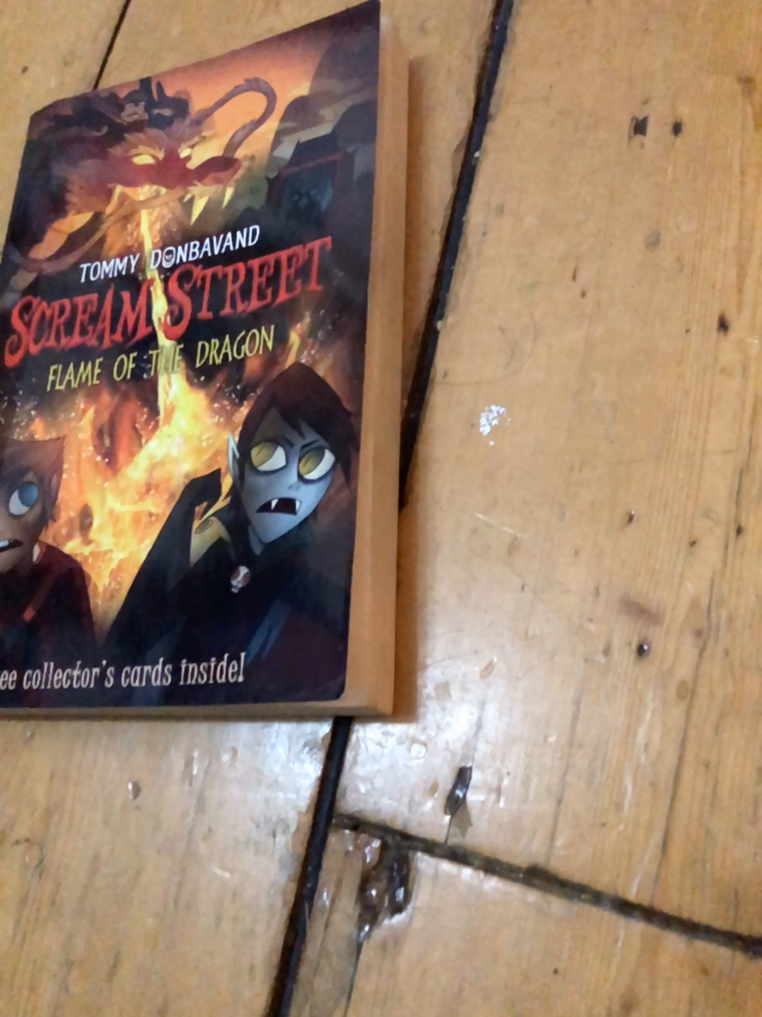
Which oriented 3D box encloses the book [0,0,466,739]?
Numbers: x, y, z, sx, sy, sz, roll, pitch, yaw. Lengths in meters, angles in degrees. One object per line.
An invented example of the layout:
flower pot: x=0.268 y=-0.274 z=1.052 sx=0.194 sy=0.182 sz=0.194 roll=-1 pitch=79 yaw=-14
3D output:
book: x=-0.046 y=-0.042 z=0.233 sx=0.130 sy=0.040 sz=0.200 roll=-5 pitch=70 yaw=18
